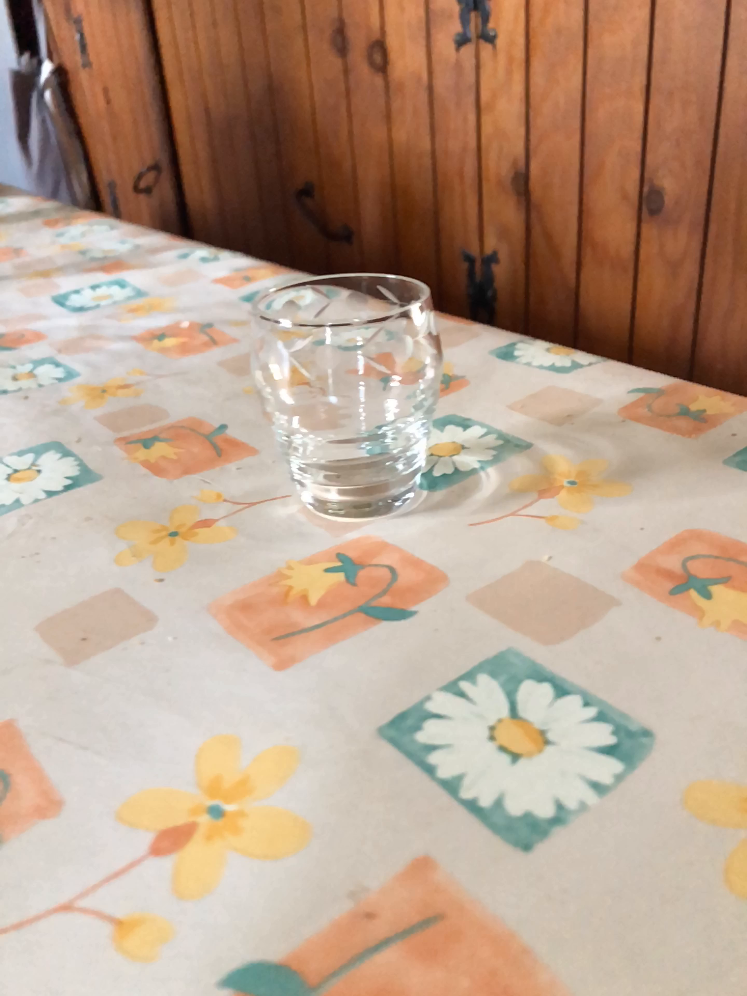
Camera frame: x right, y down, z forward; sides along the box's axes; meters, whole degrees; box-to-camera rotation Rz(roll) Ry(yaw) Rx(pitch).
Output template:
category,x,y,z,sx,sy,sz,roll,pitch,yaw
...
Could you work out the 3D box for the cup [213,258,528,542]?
category,x,y,z,sx,sy,sz,roll,pitch,yaw
cup,-0.001,-0.031,0.228,0.060,0.050,0.060,-3,28,1
